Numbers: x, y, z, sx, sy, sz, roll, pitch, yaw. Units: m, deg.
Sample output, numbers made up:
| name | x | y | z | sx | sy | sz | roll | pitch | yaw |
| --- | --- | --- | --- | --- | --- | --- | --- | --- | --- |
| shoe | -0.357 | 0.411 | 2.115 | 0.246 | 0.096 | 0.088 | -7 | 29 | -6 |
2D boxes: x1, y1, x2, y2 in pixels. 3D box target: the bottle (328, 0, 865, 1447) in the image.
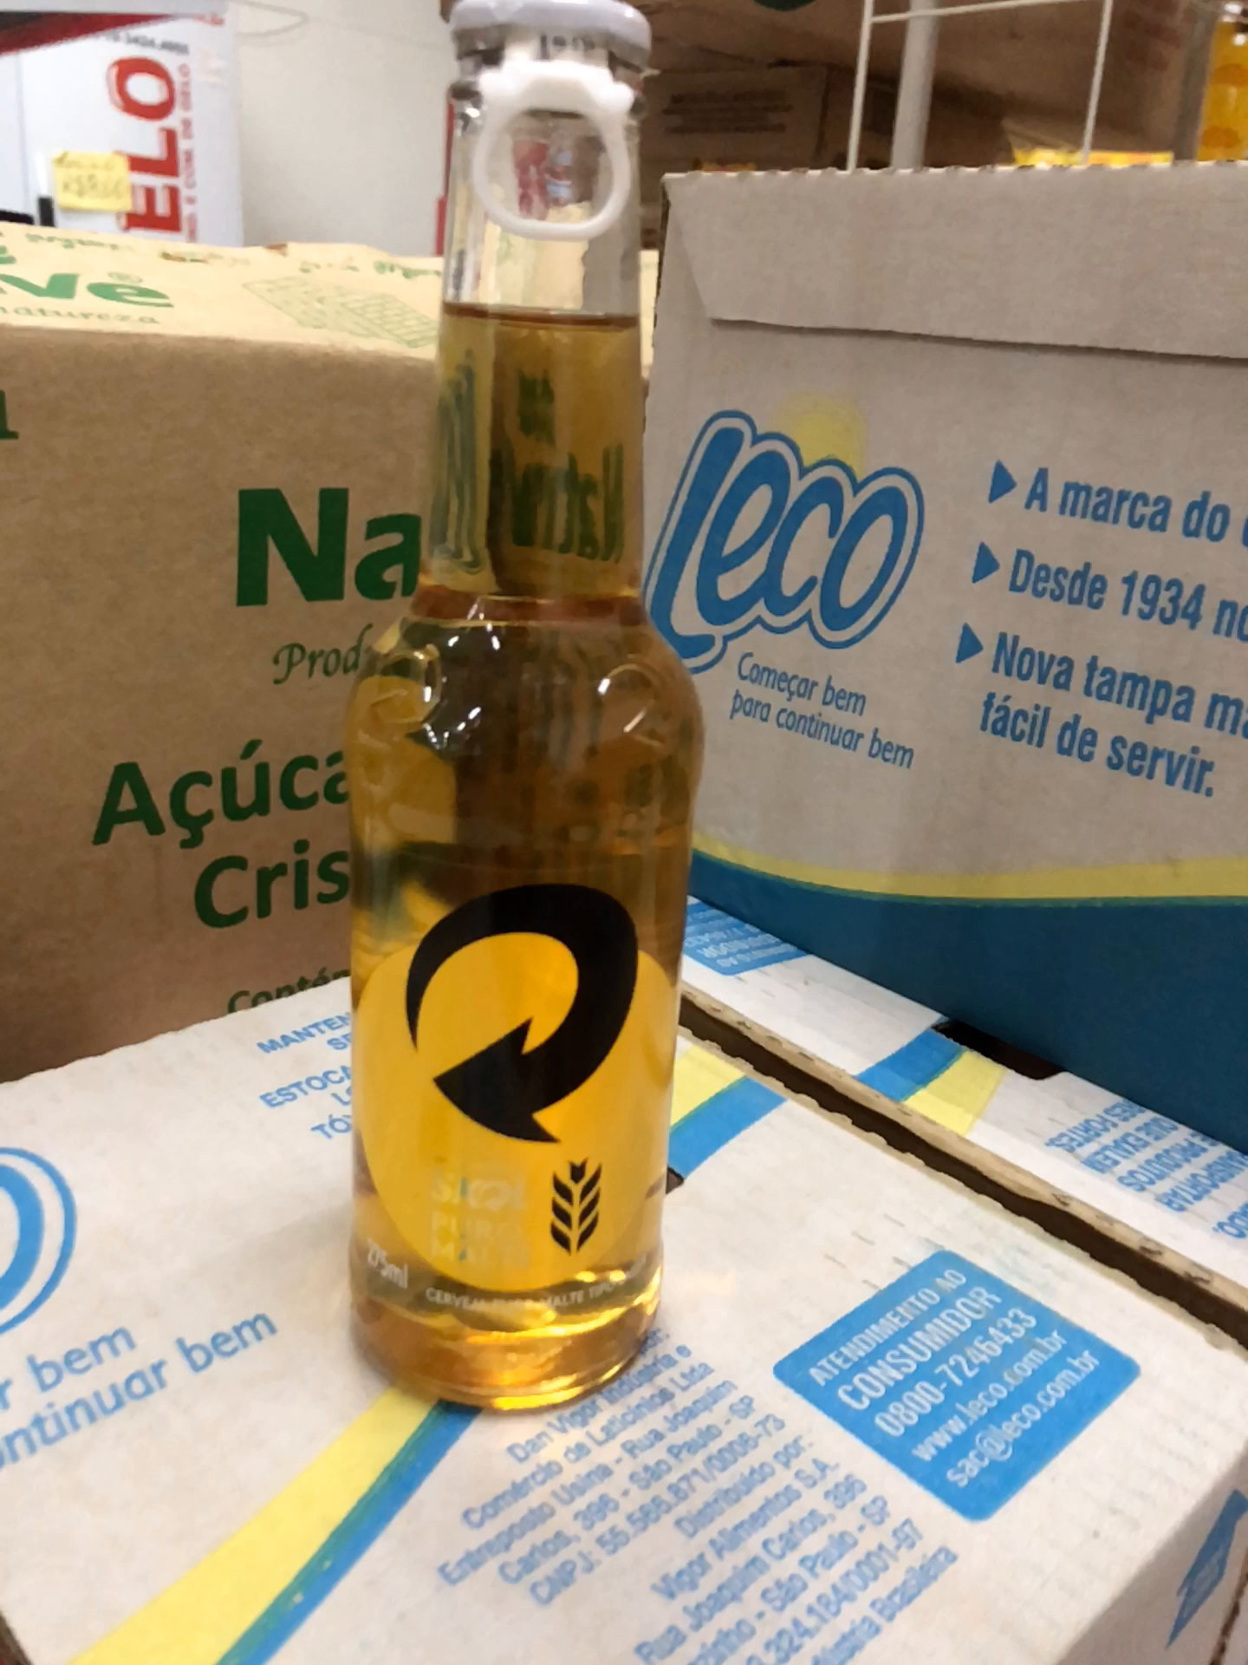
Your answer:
| name | x | y | z | sx | sy | sz | roll | pitch | yaw |
| --- | --- | --- | --- | --- | --- | --- | --- | --- | --- |
| bottle | -0.014 | -0.012 | 0.221 | 0.060 | 0.209 | 0.060 | 3 | 19 | -1 |
